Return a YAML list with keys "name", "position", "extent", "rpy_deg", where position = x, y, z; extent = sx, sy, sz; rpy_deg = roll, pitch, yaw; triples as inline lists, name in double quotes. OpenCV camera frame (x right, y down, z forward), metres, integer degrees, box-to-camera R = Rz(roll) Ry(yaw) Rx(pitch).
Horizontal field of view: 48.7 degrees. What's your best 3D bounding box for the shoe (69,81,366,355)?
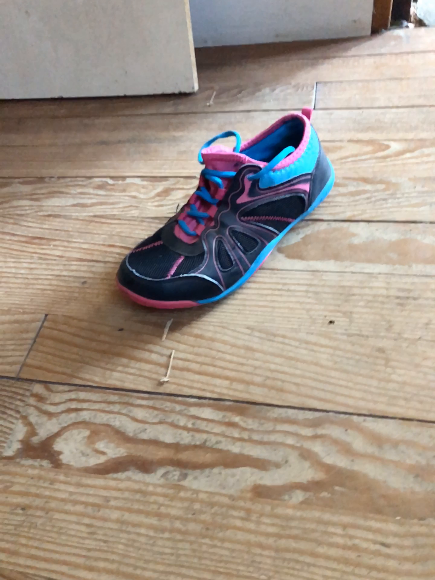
- name: "shoe"
  position: [0.013, -0.080, 0.458]
  extent: [0.261, 0.100, 0.110]
  rpy_deg: [-40, 56, -22]
